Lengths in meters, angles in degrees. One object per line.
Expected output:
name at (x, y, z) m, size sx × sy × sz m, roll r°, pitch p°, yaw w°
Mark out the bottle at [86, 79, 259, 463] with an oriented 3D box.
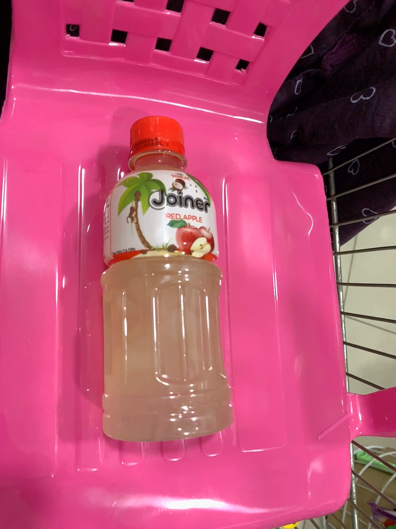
bottle at (-0.017, 0.002, 0.204) m, size 0.070 × 0.050 × 0.160 m, roll 1°, pitch 81°, yaw -20°
